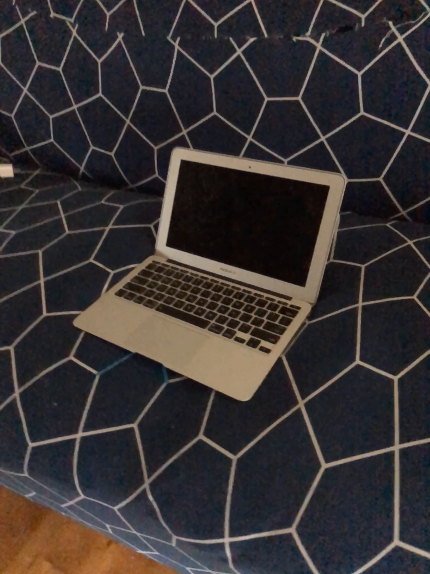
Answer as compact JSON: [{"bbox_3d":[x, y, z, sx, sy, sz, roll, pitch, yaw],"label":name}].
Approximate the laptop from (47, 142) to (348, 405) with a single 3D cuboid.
[{"bbox_3d":[-0.010,-0.049,0.643,0.282,0.156,0.280,19,44,27],"label":"laptop"}]
